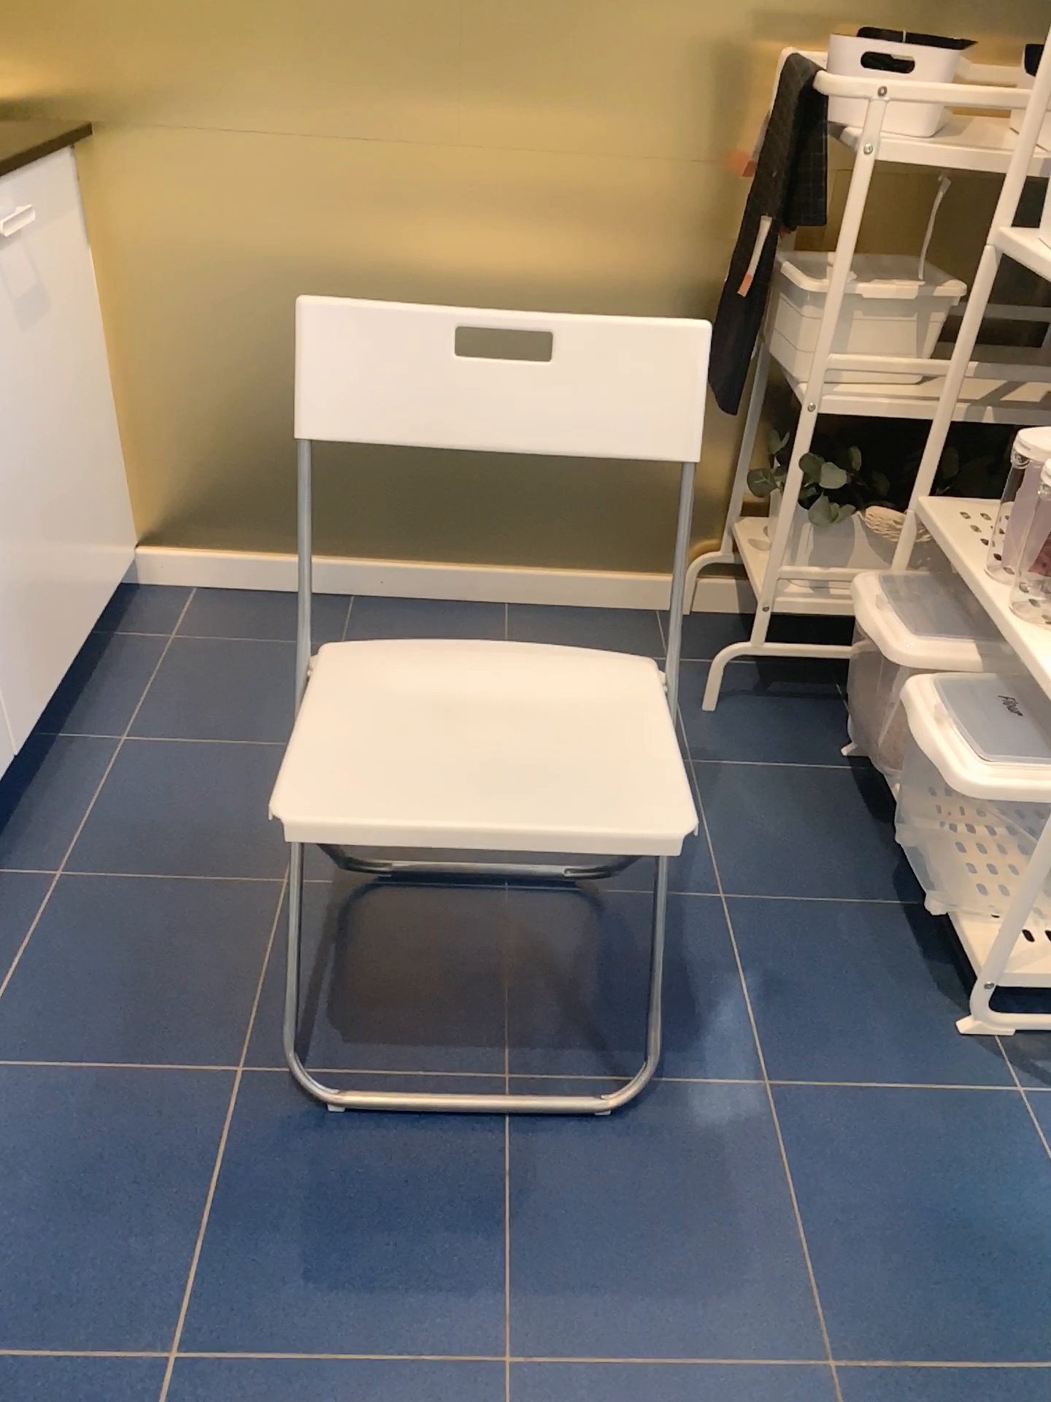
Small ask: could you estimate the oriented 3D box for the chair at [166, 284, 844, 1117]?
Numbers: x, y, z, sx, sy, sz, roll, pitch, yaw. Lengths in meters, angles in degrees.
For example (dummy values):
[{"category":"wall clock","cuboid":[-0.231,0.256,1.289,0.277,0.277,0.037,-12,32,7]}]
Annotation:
[{"category":"chair","cuboid":[-0.033,0.008,1.110,0.460,0.707,0.452,3,34,-2]}]
